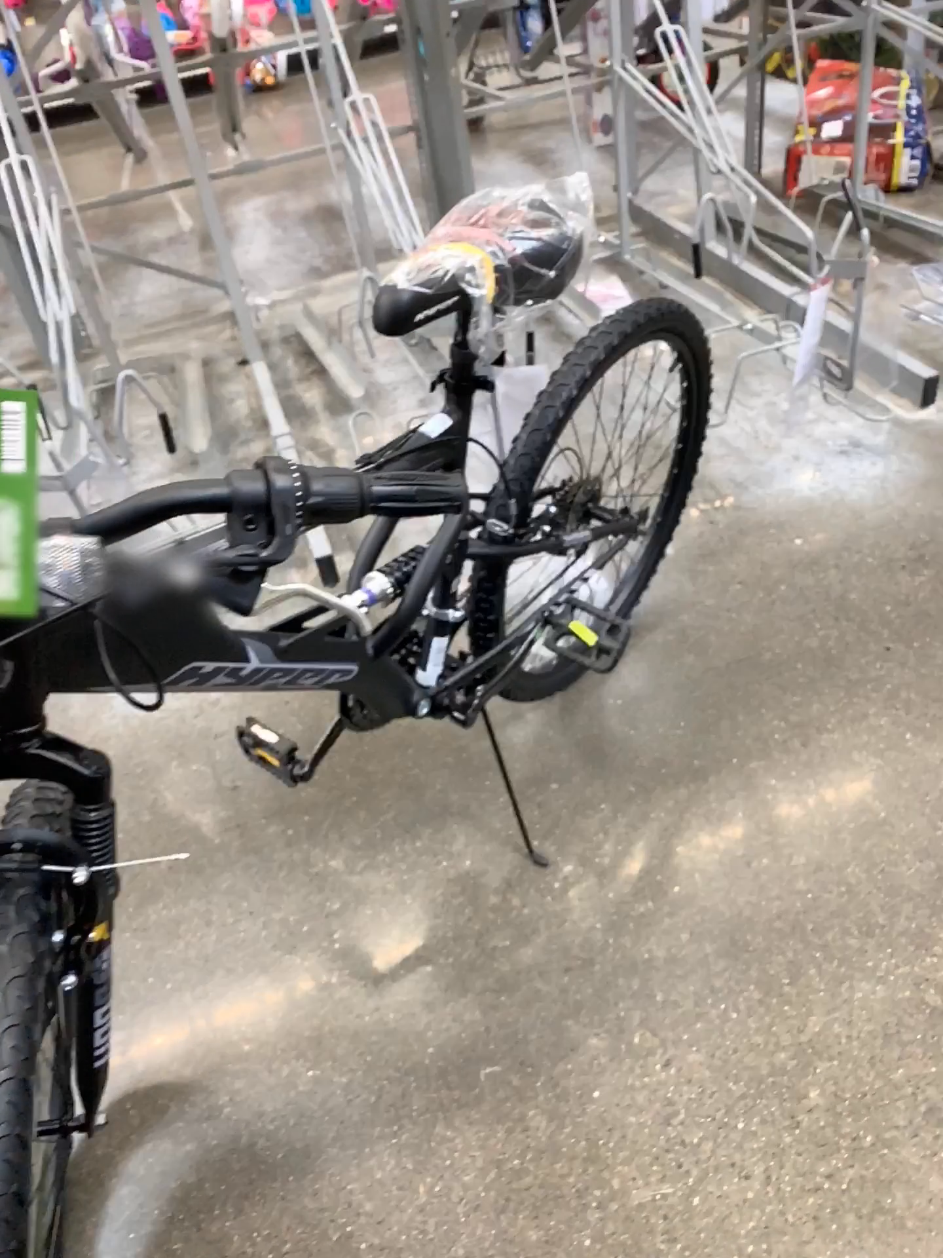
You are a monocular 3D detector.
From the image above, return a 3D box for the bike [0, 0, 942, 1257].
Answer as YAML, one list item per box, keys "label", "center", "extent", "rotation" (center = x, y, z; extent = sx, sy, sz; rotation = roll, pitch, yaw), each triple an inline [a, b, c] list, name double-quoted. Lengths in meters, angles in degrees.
- label: "bike"
  center: [0.099, 0.025, 1.138]
  extent: [0.691, 1.089, 1.686]
  rotation: [12, 47, 26]
